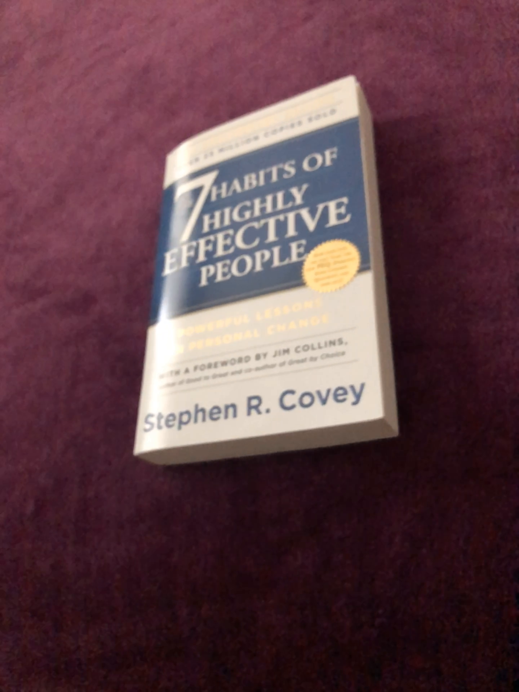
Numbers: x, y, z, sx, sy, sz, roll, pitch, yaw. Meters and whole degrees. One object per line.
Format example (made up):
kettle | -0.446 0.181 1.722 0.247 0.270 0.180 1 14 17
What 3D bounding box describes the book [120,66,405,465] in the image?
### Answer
book | -0.001 -0.048 0.341 0.147 0.028 0.217 -11 62 25
